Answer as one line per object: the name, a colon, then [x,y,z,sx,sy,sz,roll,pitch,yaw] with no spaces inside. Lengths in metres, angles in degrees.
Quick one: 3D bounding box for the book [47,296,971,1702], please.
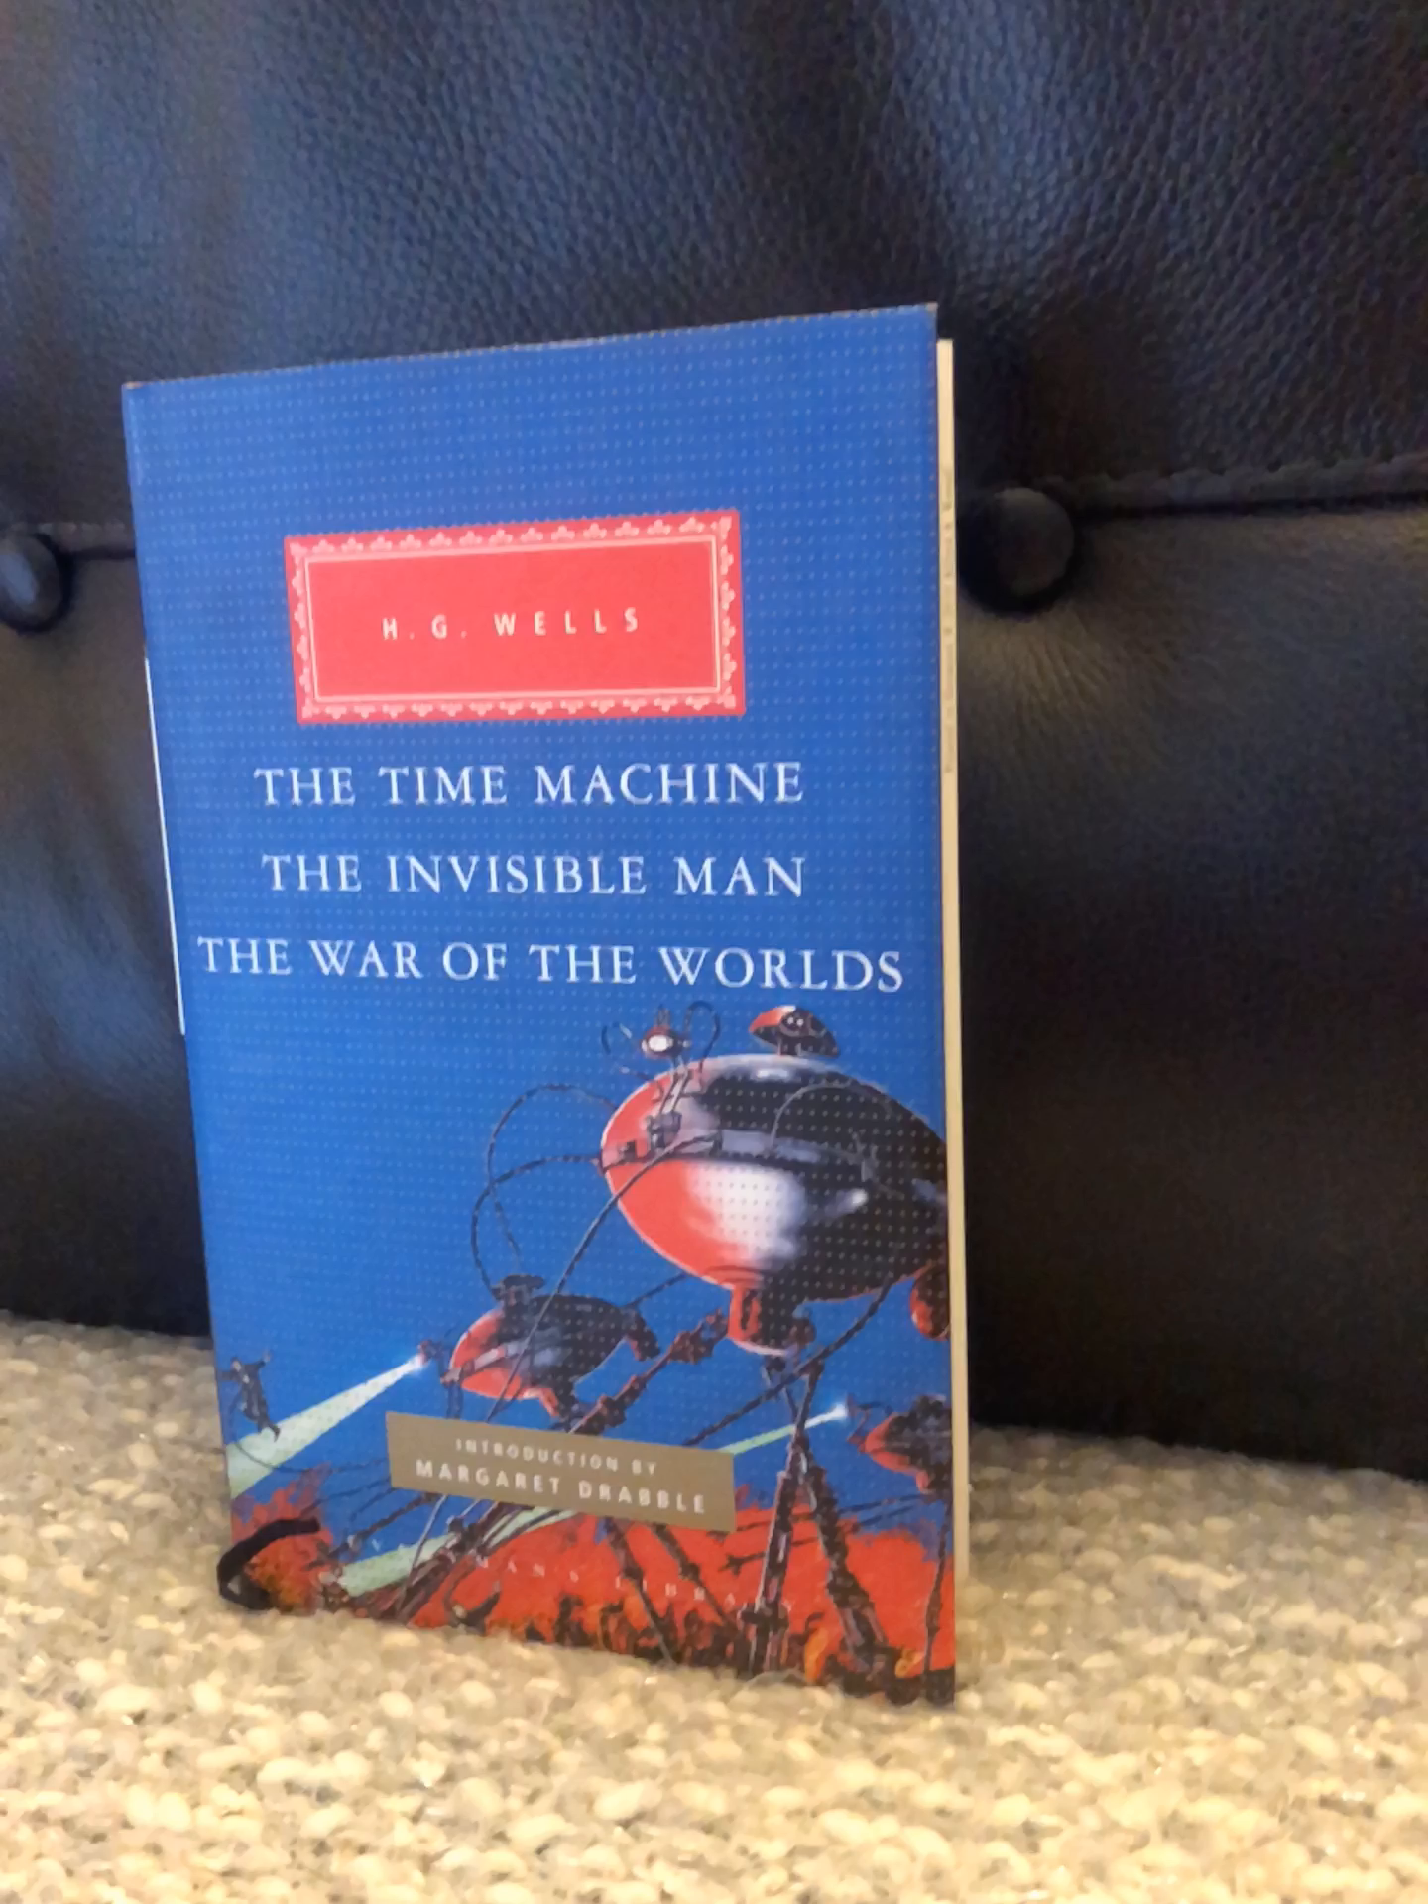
book: [-0.032,0.012,0.285,0.148,0.225,0.034,0,11,16]
